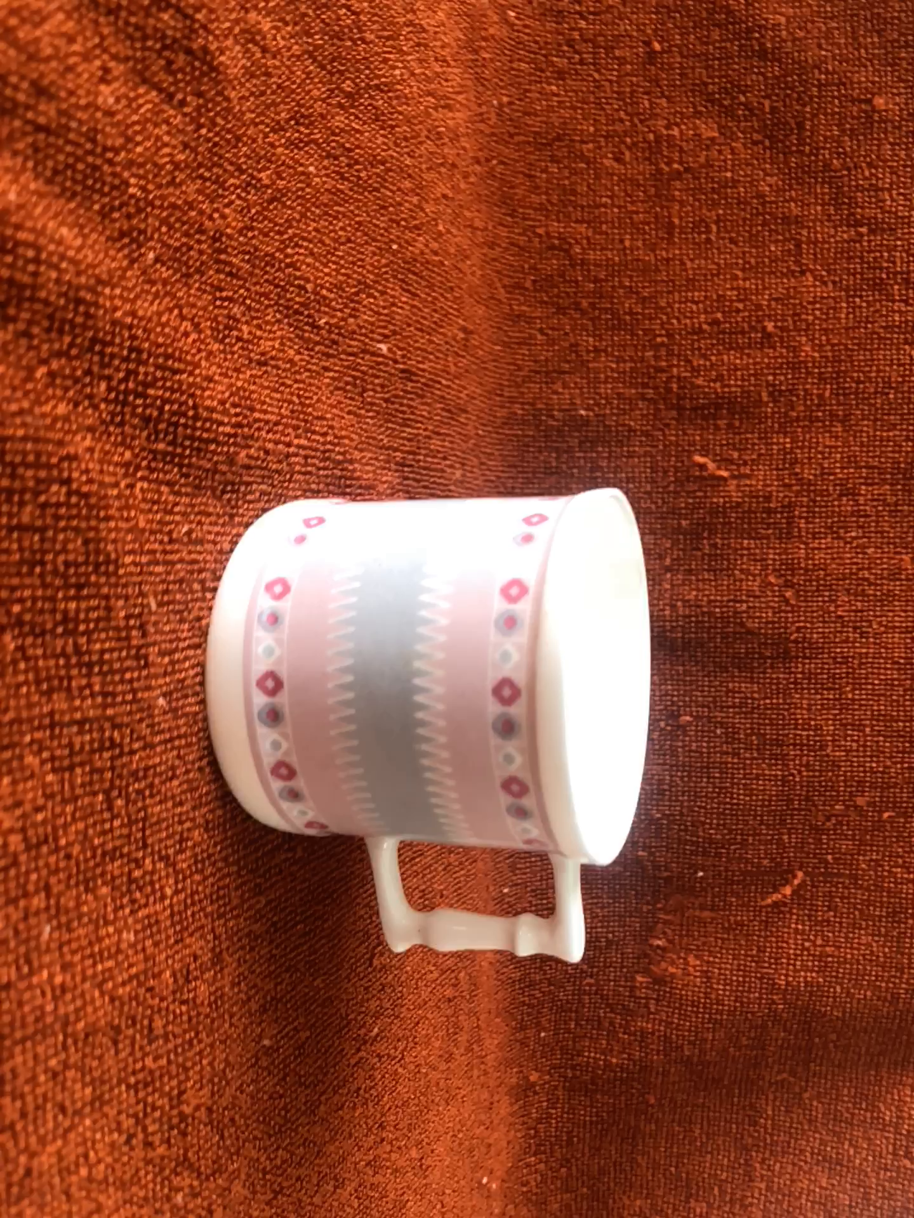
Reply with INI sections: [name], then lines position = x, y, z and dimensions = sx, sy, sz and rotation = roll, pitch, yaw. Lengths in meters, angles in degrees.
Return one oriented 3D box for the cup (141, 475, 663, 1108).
[cup]
position = -0.003, 0.025, 0.186
dimensions = 0.060, 0.070, 0.090
rotation = -38, 127, -64
